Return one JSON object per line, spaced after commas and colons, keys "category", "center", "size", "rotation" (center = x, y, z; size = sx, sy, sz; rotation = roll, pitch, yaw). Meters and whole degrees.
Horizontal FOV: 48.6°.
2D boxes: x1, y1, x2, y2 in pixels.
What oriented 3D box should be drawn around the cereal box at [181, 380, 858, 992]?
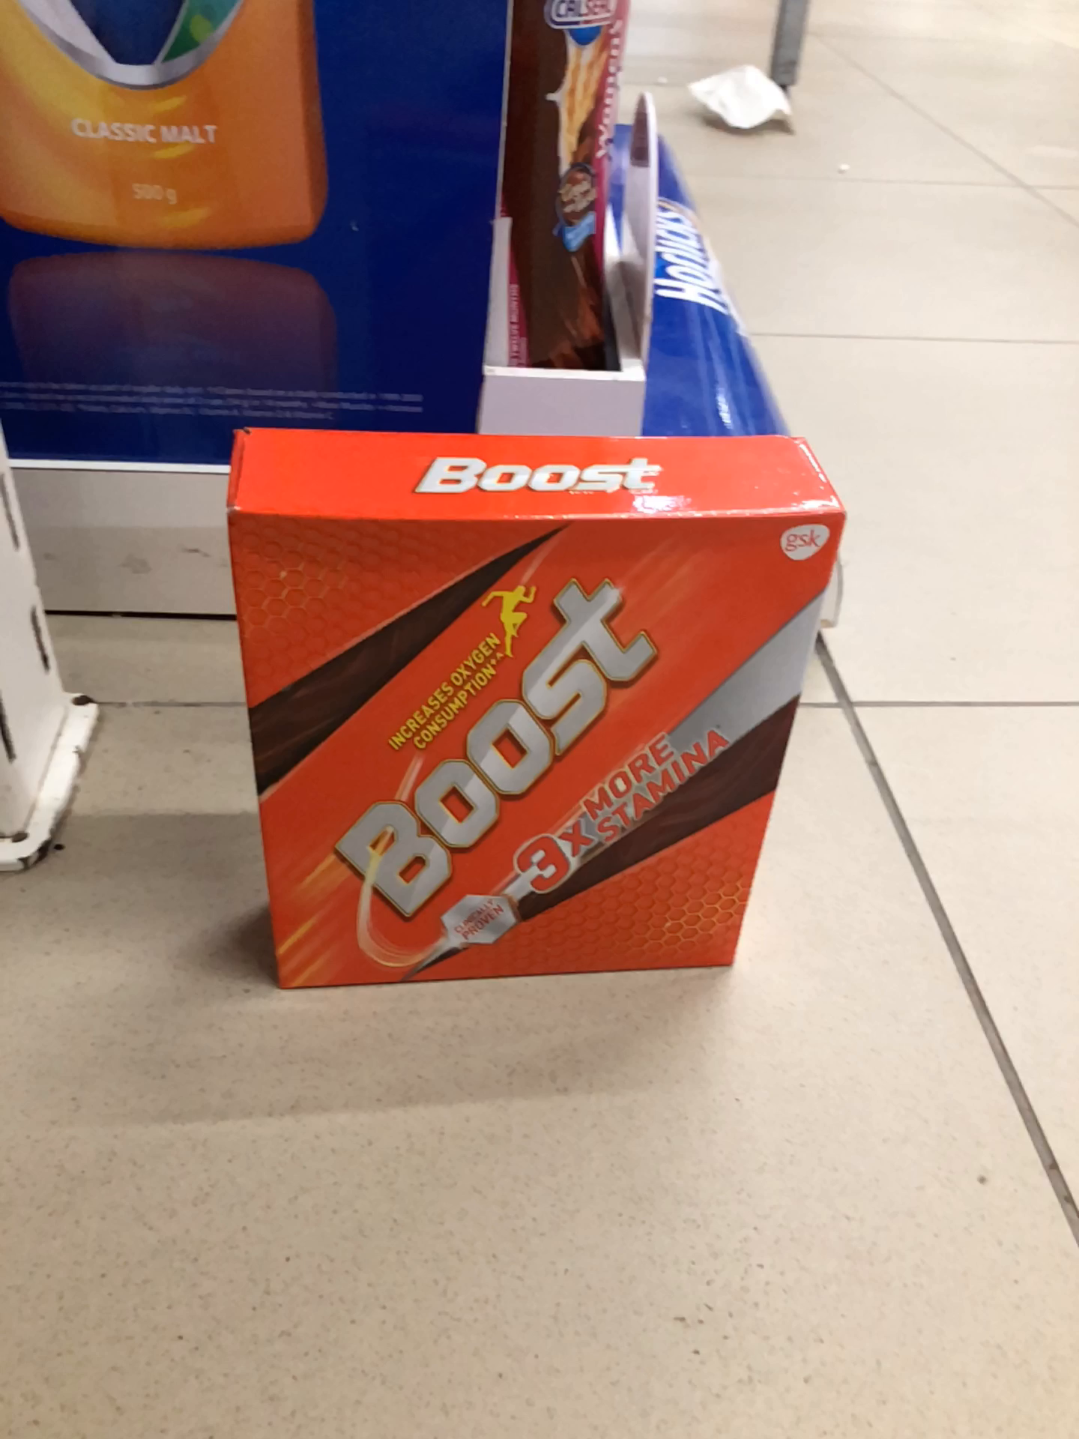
{"category": "cereal box", "center": [-0.012, -0.003, 0.353], "size": [0.160, 0.179, 0.050], "rotation": [-1, 38, -9]}
